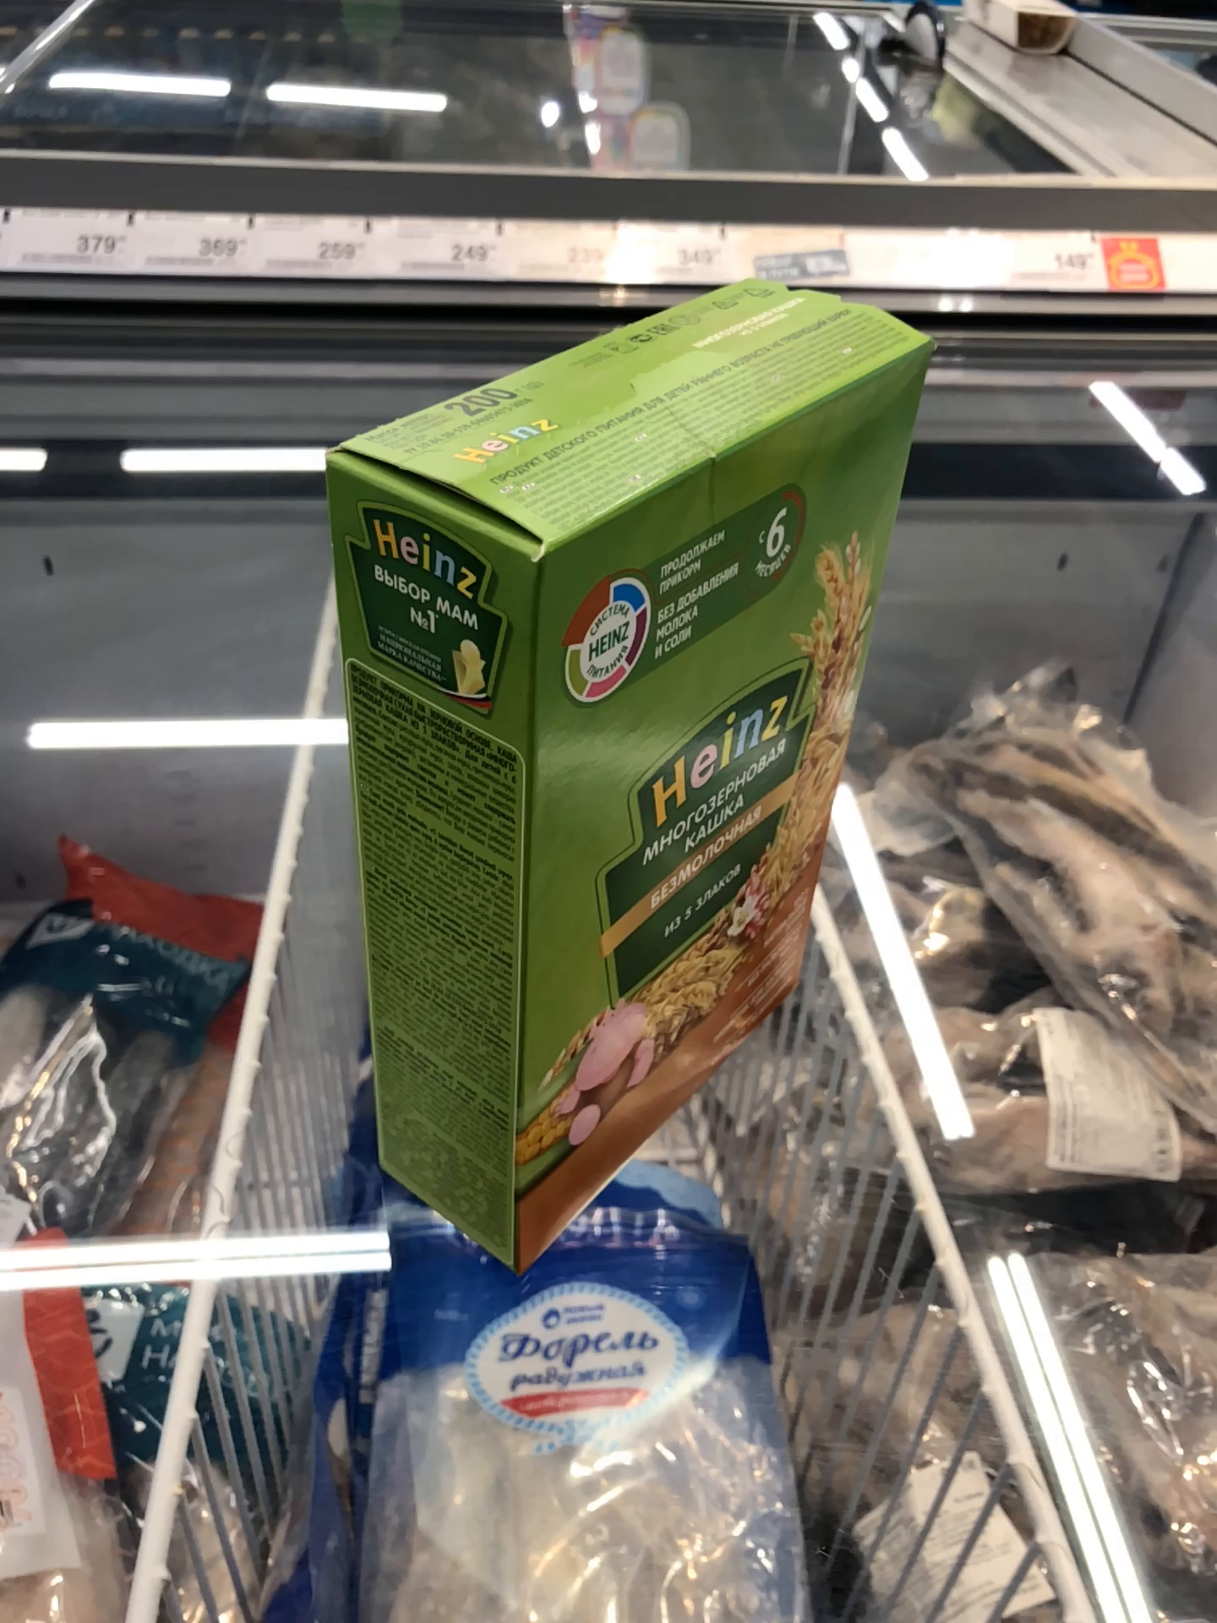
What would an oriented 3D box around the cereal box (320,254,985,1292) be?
[{"bbox_3d":[0.011,-0.006,0.315,0.050,0.199,0.141,28,45,27],"label":"cereal box"}]
